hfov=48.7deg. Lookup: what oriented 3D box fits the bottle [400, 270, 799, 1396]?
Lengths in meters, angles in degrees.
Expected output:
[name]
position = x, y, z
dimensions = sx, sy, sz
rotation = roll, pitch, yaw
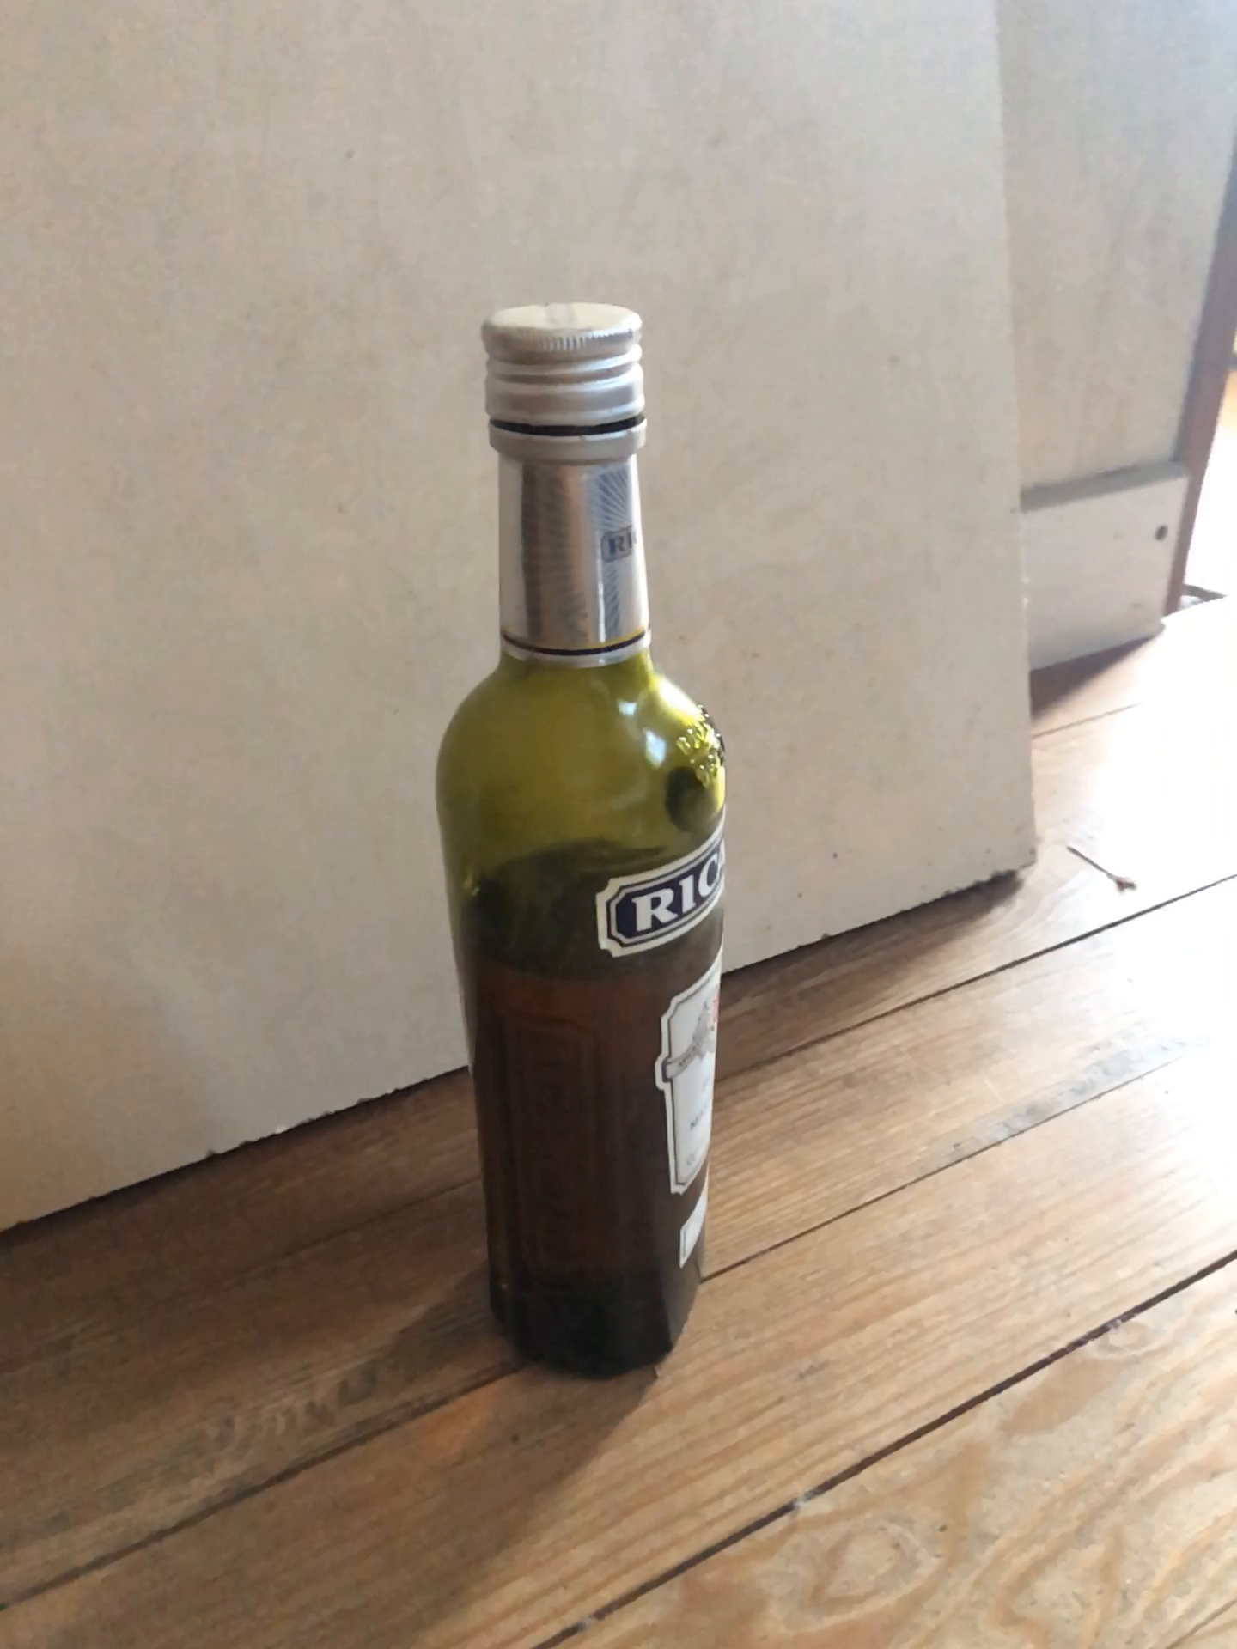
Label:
[bottle]
position = 0.000, 0.014, 0.322
dimensions = 0.060, 0.258, 0.070
rotation = 7, 30, 11
